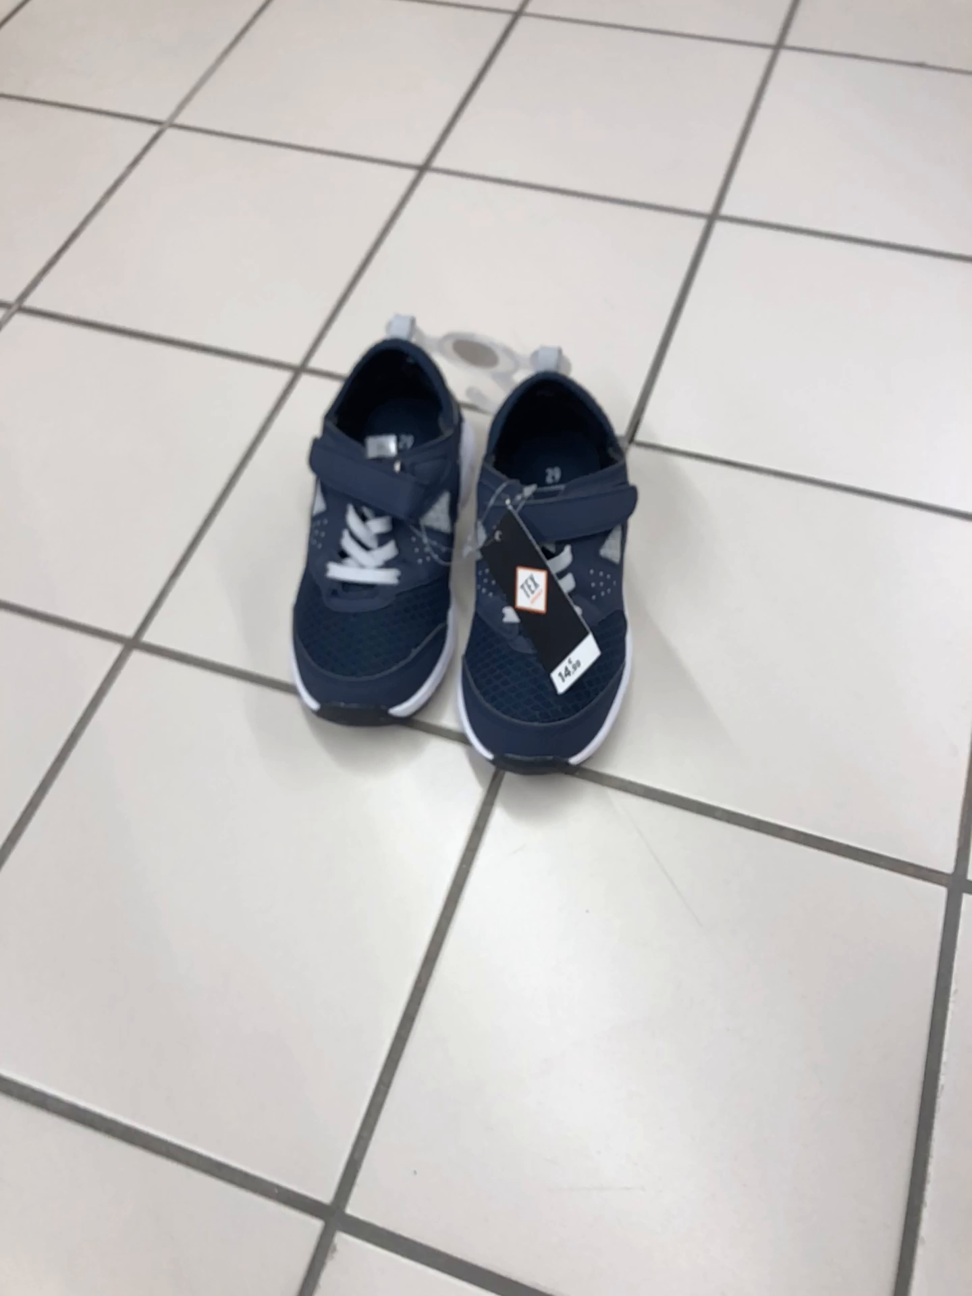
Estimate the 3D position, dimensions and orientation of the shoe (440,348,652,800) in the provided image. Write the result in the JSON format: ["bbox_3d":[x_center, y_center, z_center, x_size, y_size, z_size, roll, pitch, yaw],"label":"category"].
[{"bbox_3d":[0.030,-0.039,0.499,0.081,0.081,0.199,1,58,4],"label":"shoe"}]

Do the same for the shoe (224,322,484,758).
[{"bbox_3d":[-0.053,-0.056,0.519,0.083,0.084,0.196,3,58,5],"label":"shoe"}]
